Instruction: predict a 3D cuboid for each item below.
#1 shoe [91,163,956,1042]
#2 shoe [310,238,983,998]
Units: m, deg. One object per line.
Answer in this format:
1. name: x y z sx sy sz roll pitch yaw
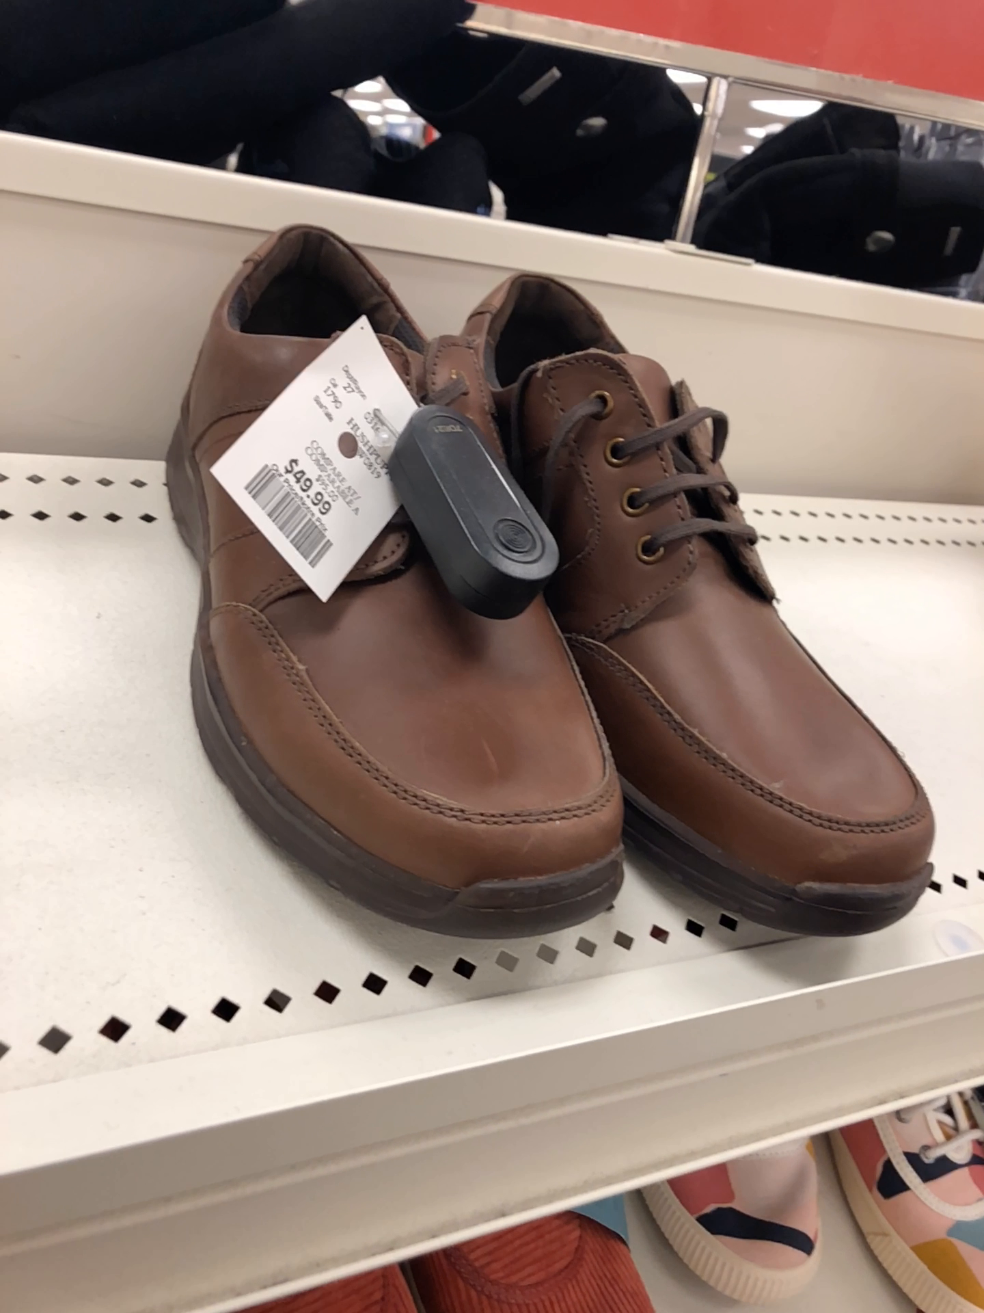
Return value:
1. shoe: -0.038 -0.058 0.347 0.120 0.109 0.332 -2 32 -28
2. shoe: 0.056 -0.052 0.392 0.120 0.109 0.342 -3 30 -30
